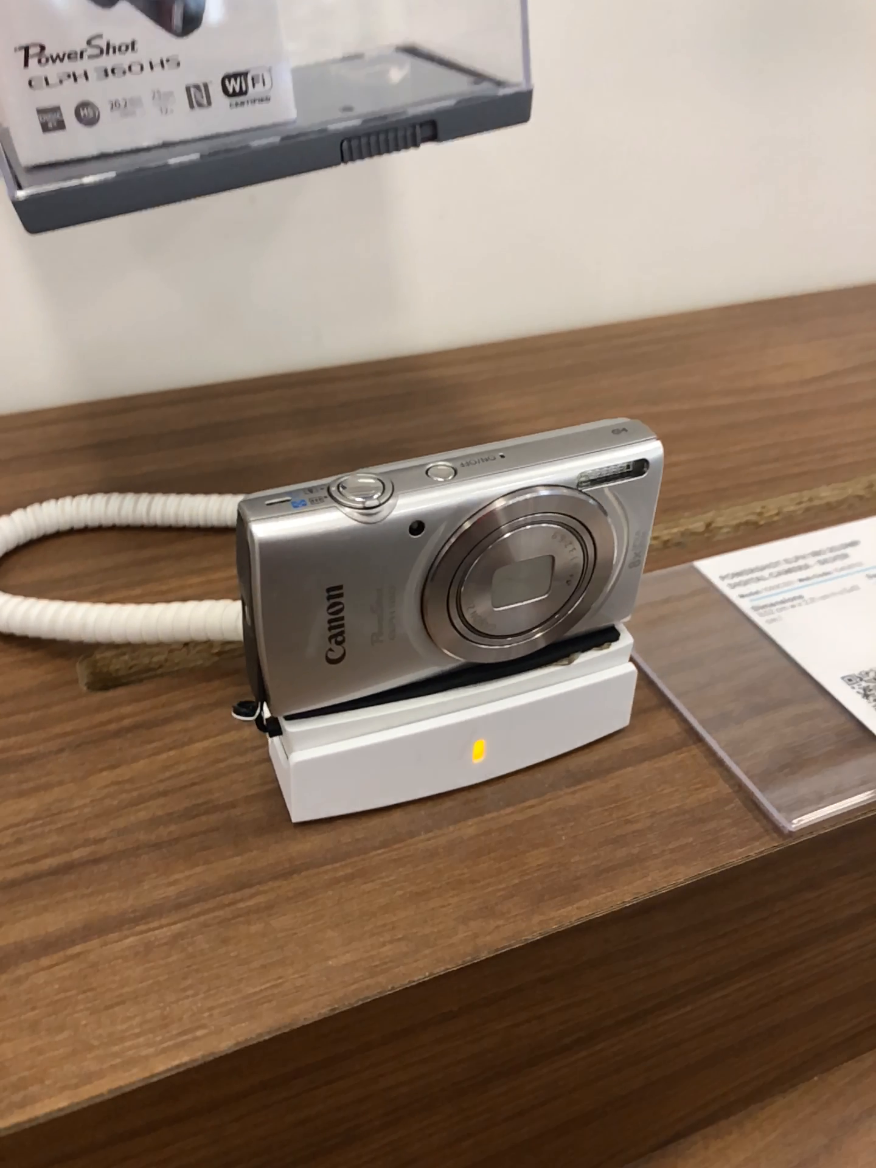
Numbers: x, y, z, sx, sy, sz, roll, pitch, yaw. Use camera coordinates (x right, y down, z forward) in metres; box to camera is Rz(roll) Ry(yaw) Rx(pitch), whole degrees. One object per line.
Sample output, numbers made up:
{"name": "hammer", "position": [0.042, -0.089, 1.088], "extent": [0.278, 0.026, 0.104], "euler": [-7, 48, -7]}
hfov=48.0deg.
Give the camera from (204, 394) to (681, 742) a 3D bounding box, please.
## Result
{"name": "camera", "position": [0.002, -0.004, 0.225], "extent": [0.100, 0.060, 0.020], "euler": [-14, 44, -18]}
